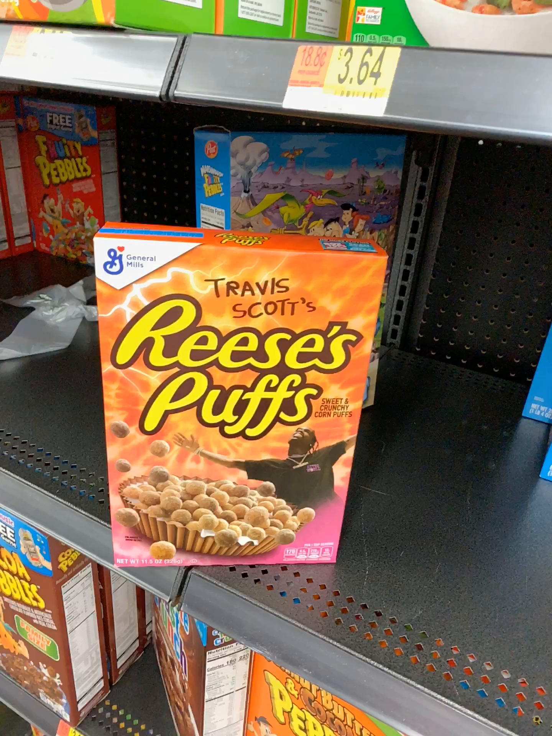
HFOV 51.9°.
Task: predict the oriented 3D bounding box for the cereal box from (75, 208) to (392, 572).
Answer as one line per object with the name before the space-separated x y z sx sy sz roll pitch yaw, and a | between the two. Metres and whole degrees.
cereal box | -0.035 0.032 0.444 0.200 0.289 0.050 1 26 -6
